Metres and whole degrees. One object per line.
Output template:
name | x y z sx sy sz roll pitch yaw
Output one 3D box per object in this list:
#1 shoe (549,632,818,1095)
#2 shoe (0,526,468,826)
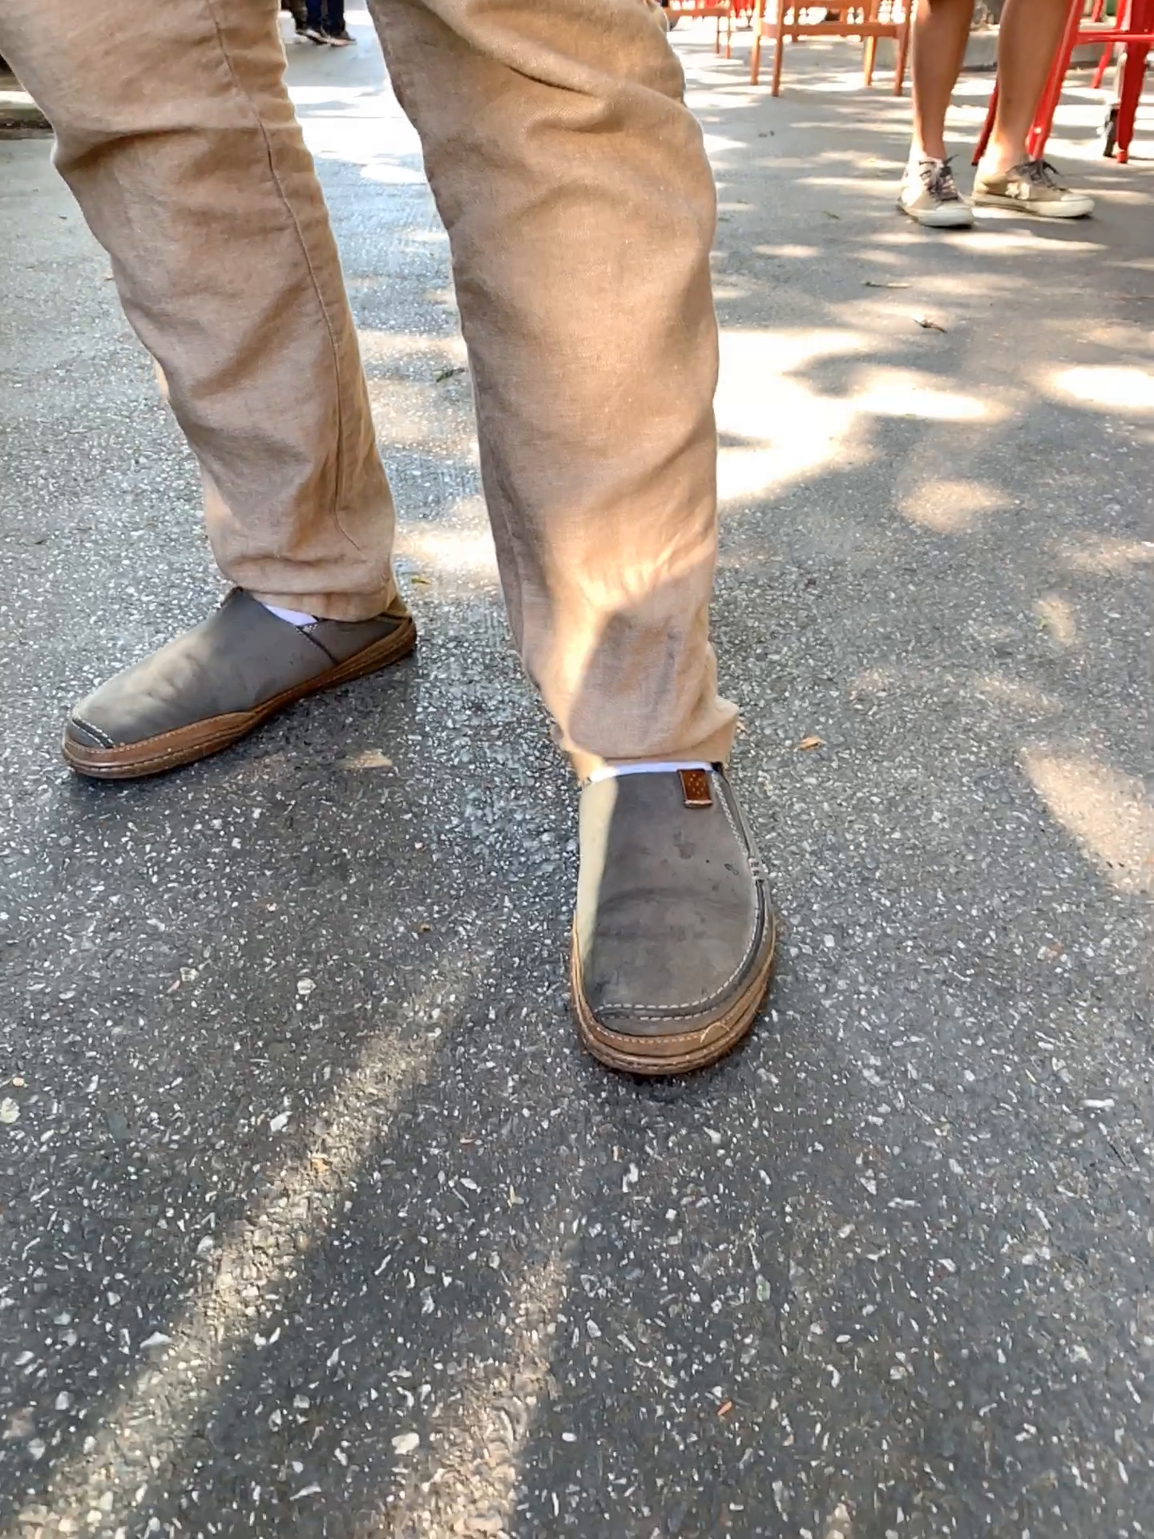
shoe | 0.046 0.033 0.692 0.120 0.079 0.322 -3 34 0
shoe | -0.236 -0.083 0.864 0.120 0.060 0.321 23 42 32
